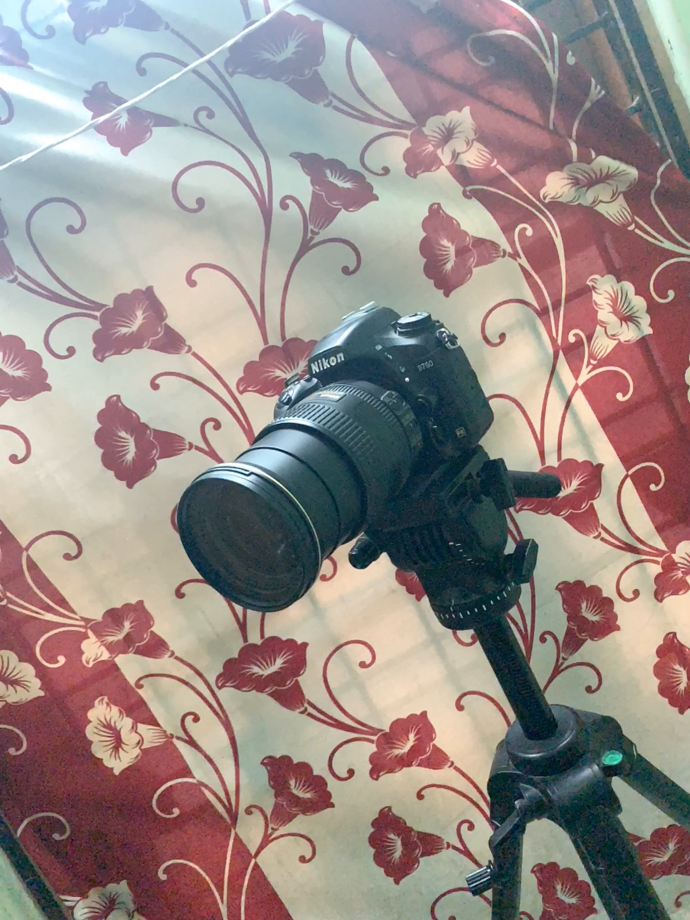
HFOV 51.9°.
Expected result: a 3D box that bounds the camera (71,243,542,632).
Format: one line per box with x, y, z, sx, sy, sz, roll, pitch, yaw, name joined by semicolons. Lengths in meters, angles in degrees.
-0.013;-0.015;0.402;0.172;0.122;0.170;-20;11;35;camera
